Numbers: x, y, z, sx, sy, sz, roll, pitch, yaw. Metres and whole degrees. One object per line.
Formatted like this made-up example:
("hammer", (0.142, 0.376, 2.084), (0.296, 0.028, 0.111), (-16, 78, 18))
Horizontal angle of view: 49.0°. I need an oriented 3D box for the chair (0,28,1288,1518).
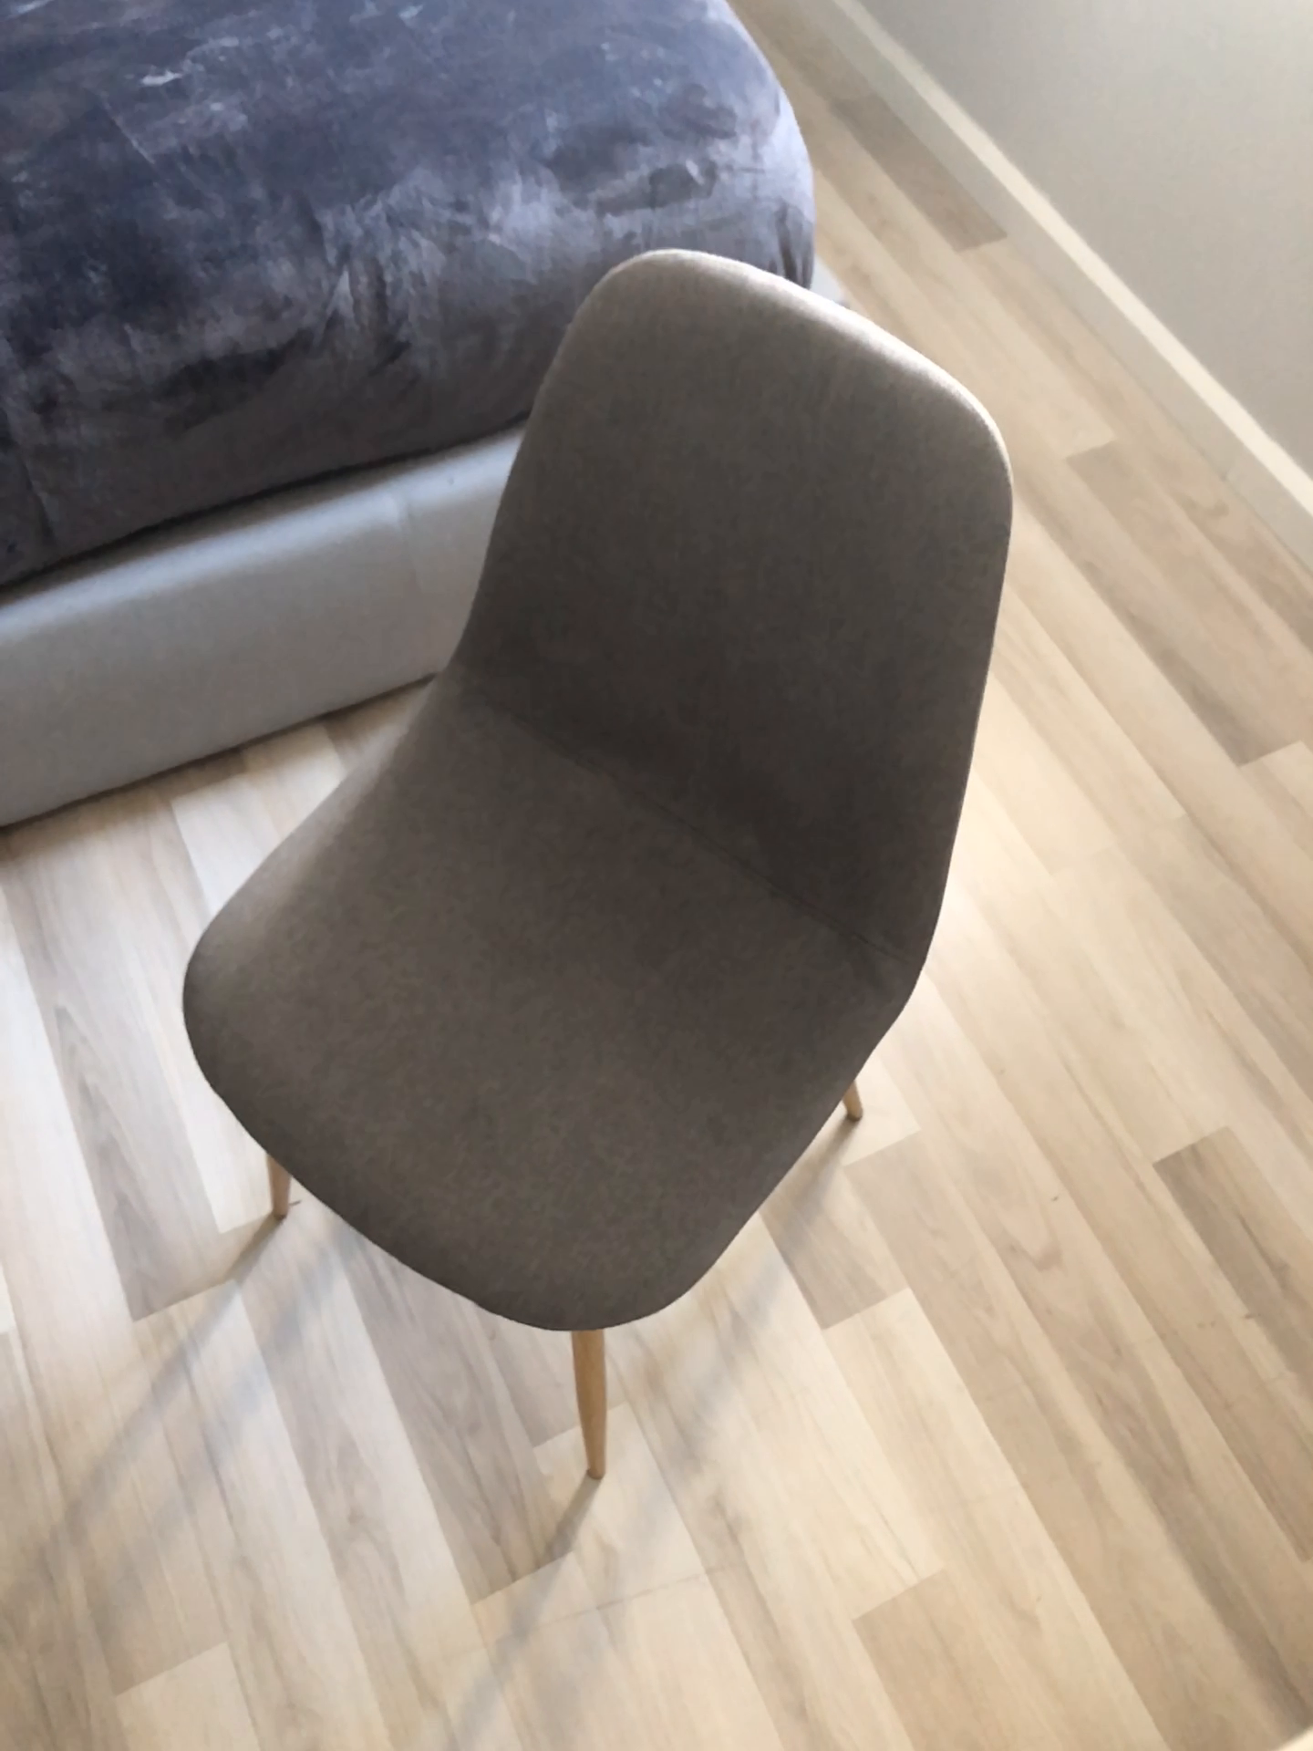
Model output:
("chair", (-0.051, 0.007, 1.022), (0.470, 0.787, 0.572), (34, 64, 16))
